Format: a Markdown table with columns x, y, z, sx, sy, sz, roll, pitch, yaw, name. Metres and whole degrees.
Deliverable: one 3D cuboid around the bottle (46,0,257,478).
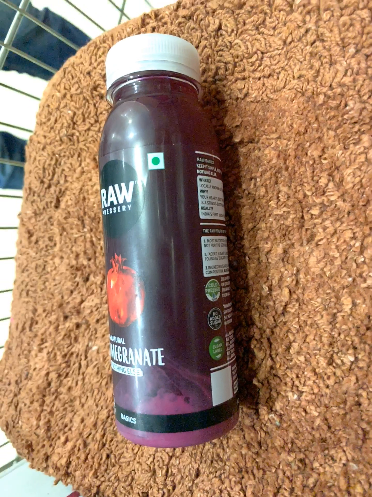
| x | y | z | sx | sy | sz | roll | pitch | yaw | name |
| --- | --- | --- | --- | --- | --- | --- | --- | --- | --- |
| -0.010 | -0.002 | 0.142 | 0.050 | 0.040 | 0.140 | -1 | 96 | 34 | bottle |
